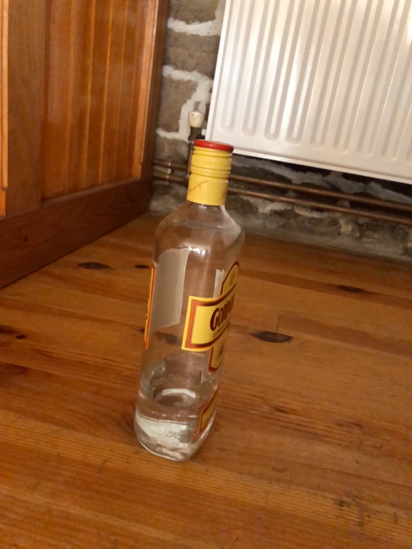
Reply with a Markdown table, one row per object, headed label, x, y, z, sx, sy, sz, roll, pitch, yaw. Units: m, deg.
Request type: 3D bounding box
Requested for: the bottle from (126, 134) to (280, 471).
| label | x | y | z | sx | sy | sz | roll | pitch | yaw |
| --- | --- | --- | --- | --- | --- | --- | --- | --- | --- |
| bottle | -0.003 | 0.018 | 0.357 | 0.060 | 0.239 | 0.091 | 14 | 19 | 15 |
